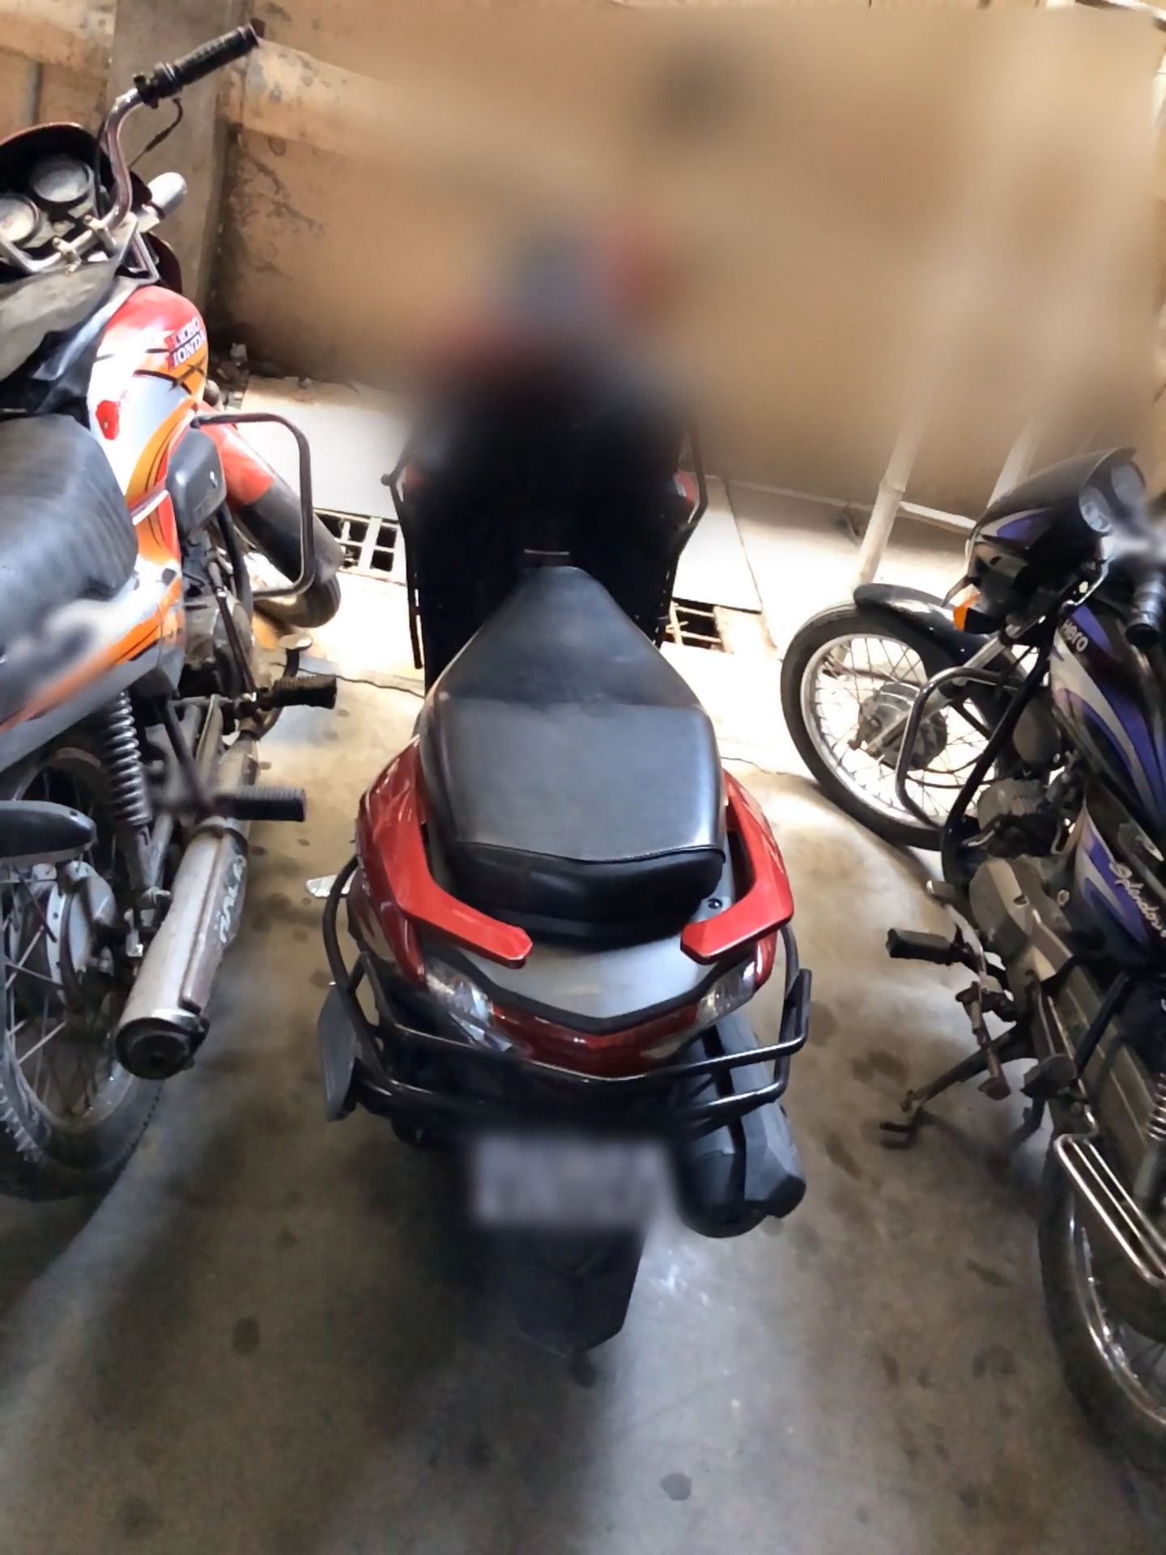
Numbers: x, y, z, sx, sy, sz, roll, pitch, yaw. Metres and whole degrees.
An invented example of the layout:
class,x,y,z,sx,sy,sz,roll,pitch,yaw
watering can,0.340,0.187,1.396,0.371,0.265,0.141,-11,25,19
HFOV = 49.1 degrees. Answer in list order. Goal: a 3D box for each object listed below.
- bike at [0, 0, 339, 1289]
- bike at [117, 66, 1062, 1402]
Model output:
class,x,y,z,sx,sy,sz,roll,pitch,yaw
bike,-0.869,-0.395,1.741,0.838,1.089,1.658,10,36,-16
bike,-0.168,-0.135,1.824,0.630,1.139,1.446,10,38,-16
